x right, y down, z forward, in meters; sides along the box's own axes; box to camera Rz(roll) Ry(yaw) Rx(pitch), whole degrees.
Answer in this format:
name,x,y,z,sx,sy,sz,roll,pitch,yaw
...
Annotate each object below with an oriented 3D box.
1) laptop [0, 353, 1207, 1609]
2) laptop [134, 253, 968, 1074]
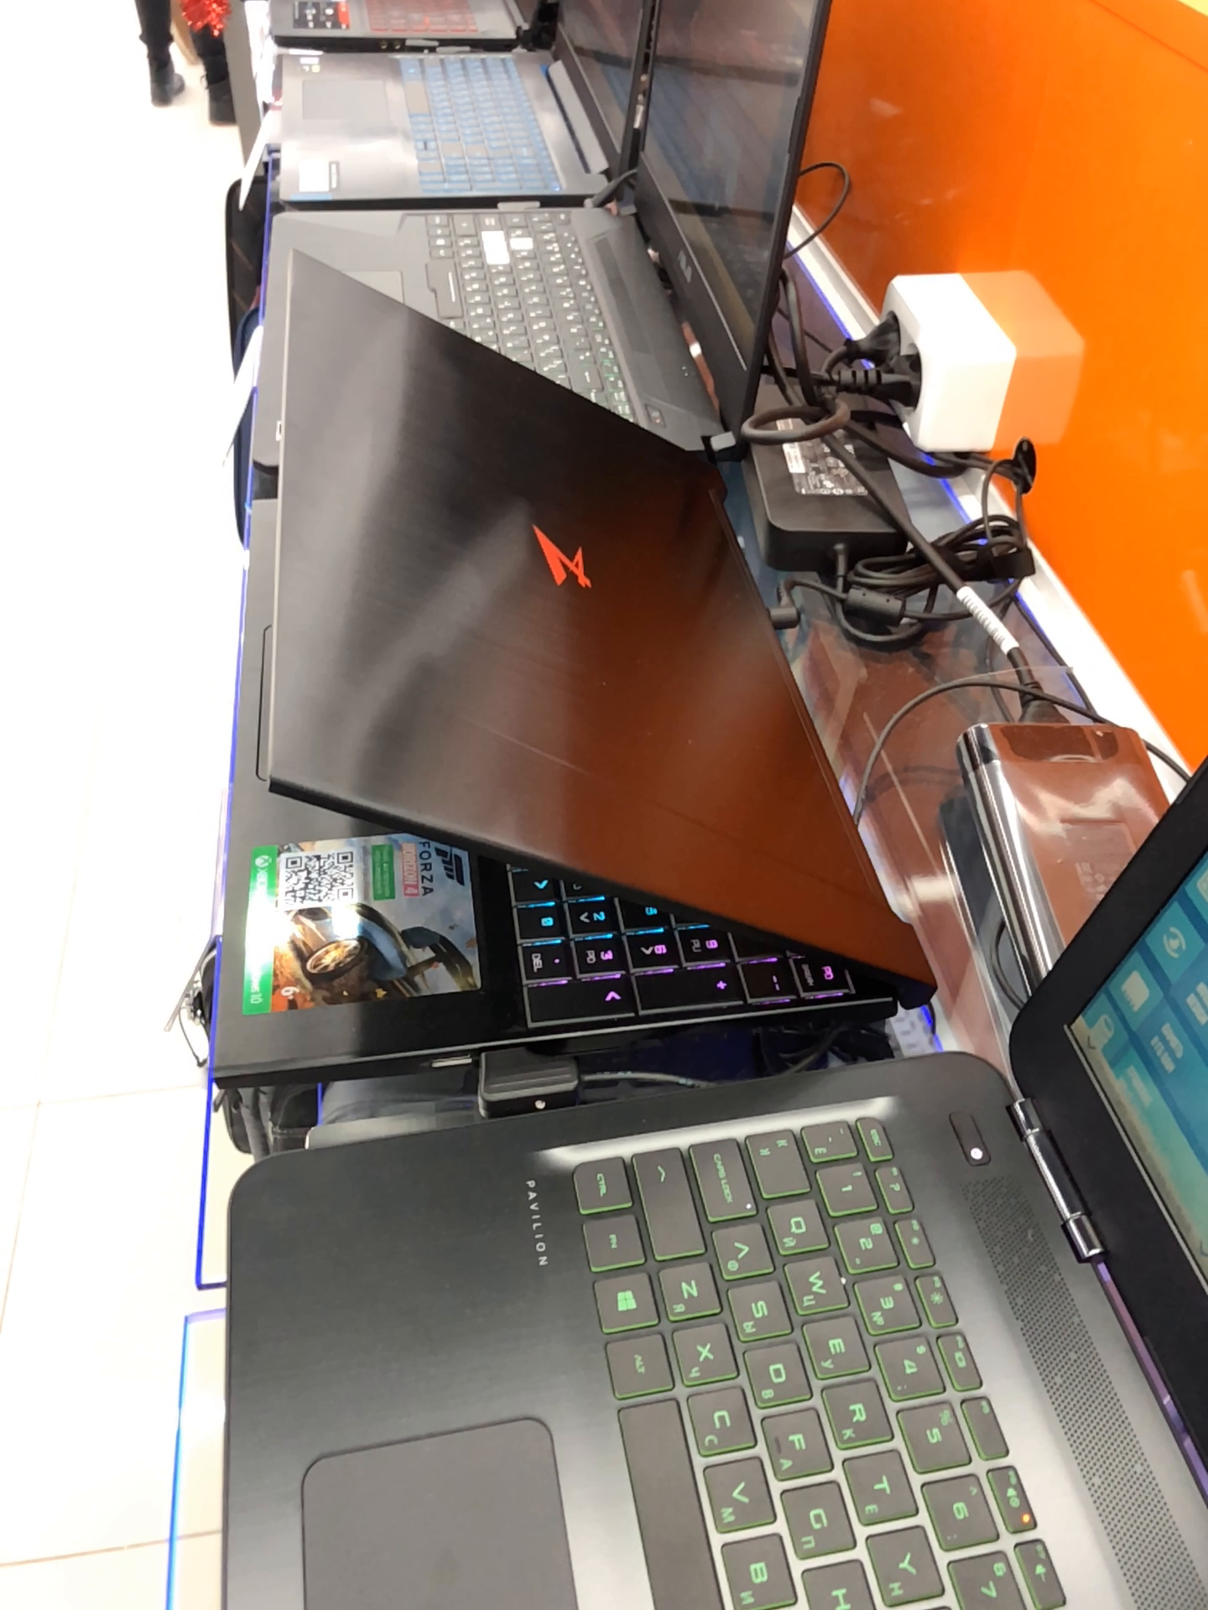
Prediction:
name,x,y,z,sx,sy,sz,roll,pitch,yaw
laptop,0.066,0.122,0.230,0.306,0.252,0.336,-5,44,-9
laptop,-0.039,-0.089,0.540,0.233,0.118,0.361,-6,43,-6
